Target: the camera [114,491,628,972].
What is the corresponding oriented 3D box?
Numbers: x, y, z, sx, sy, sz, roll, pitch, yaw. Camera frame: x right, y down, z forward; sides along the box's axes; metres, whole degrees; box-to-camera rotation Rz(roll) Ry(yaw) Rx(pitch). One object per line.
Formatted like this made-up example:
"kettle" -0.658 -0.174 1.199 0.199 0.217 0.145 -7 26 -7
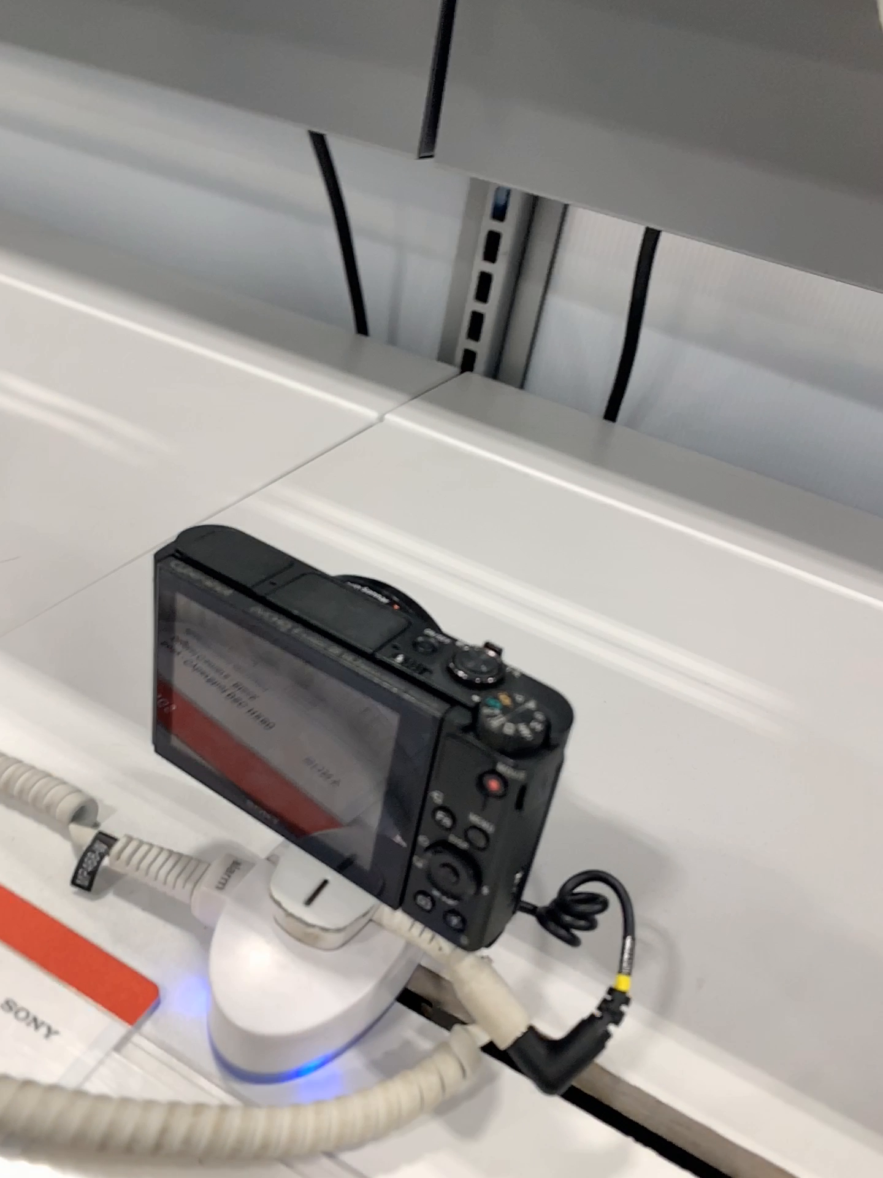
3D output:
"camera" -0.020 0.027 0.205 0.104 0.052 0.040 27 34 19
